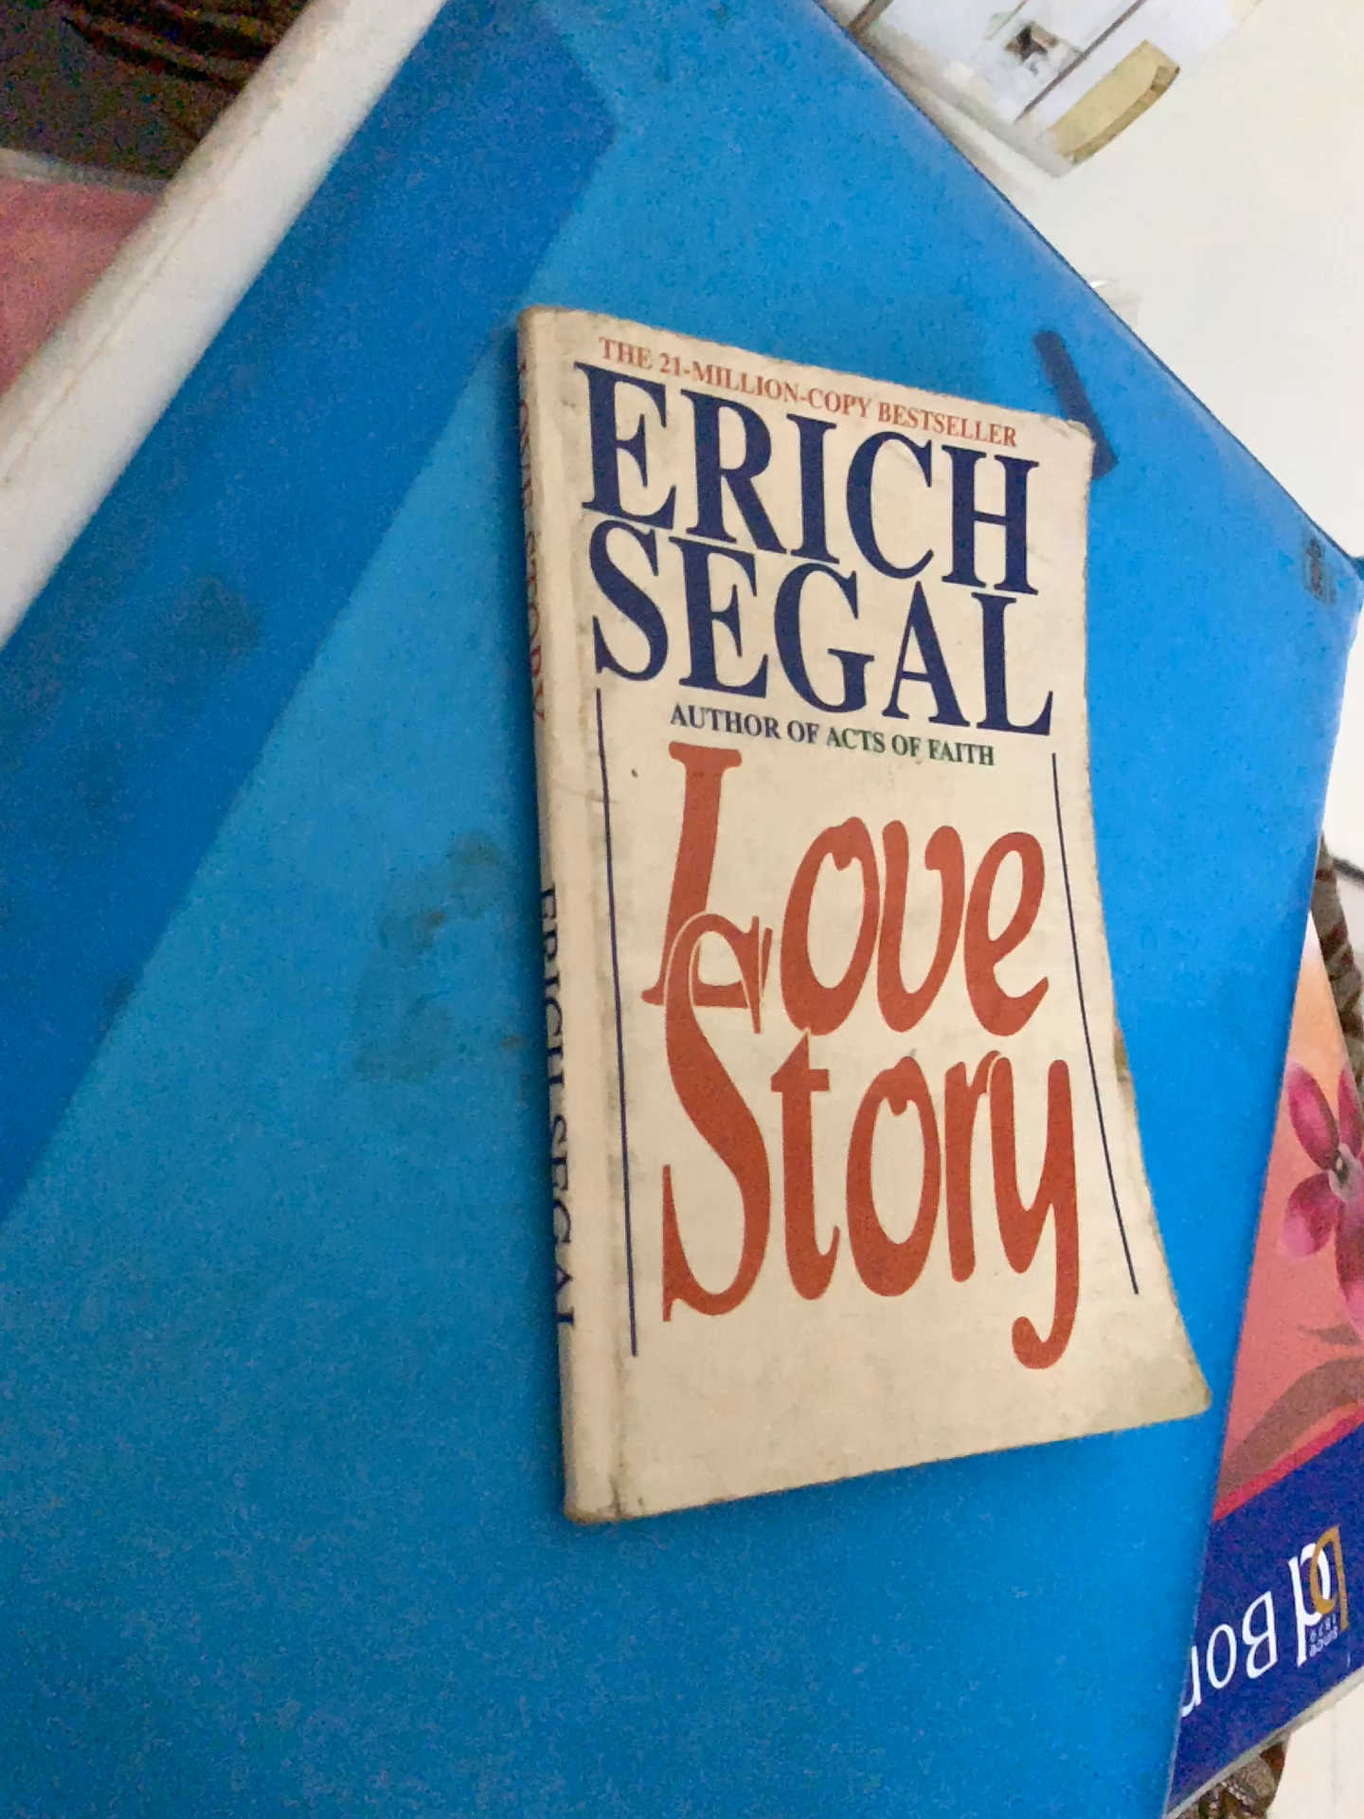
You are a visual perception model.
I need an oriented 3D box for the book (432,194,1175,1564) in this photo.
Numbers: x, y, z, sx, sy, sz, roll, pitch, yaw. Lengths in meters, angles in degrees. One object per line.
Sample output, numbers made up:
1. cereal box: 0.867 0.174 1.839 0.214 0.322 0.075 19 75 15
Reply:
1. book: 0.020 -0.008 0.219 0.110 0.020 0.180 4 76 -33
